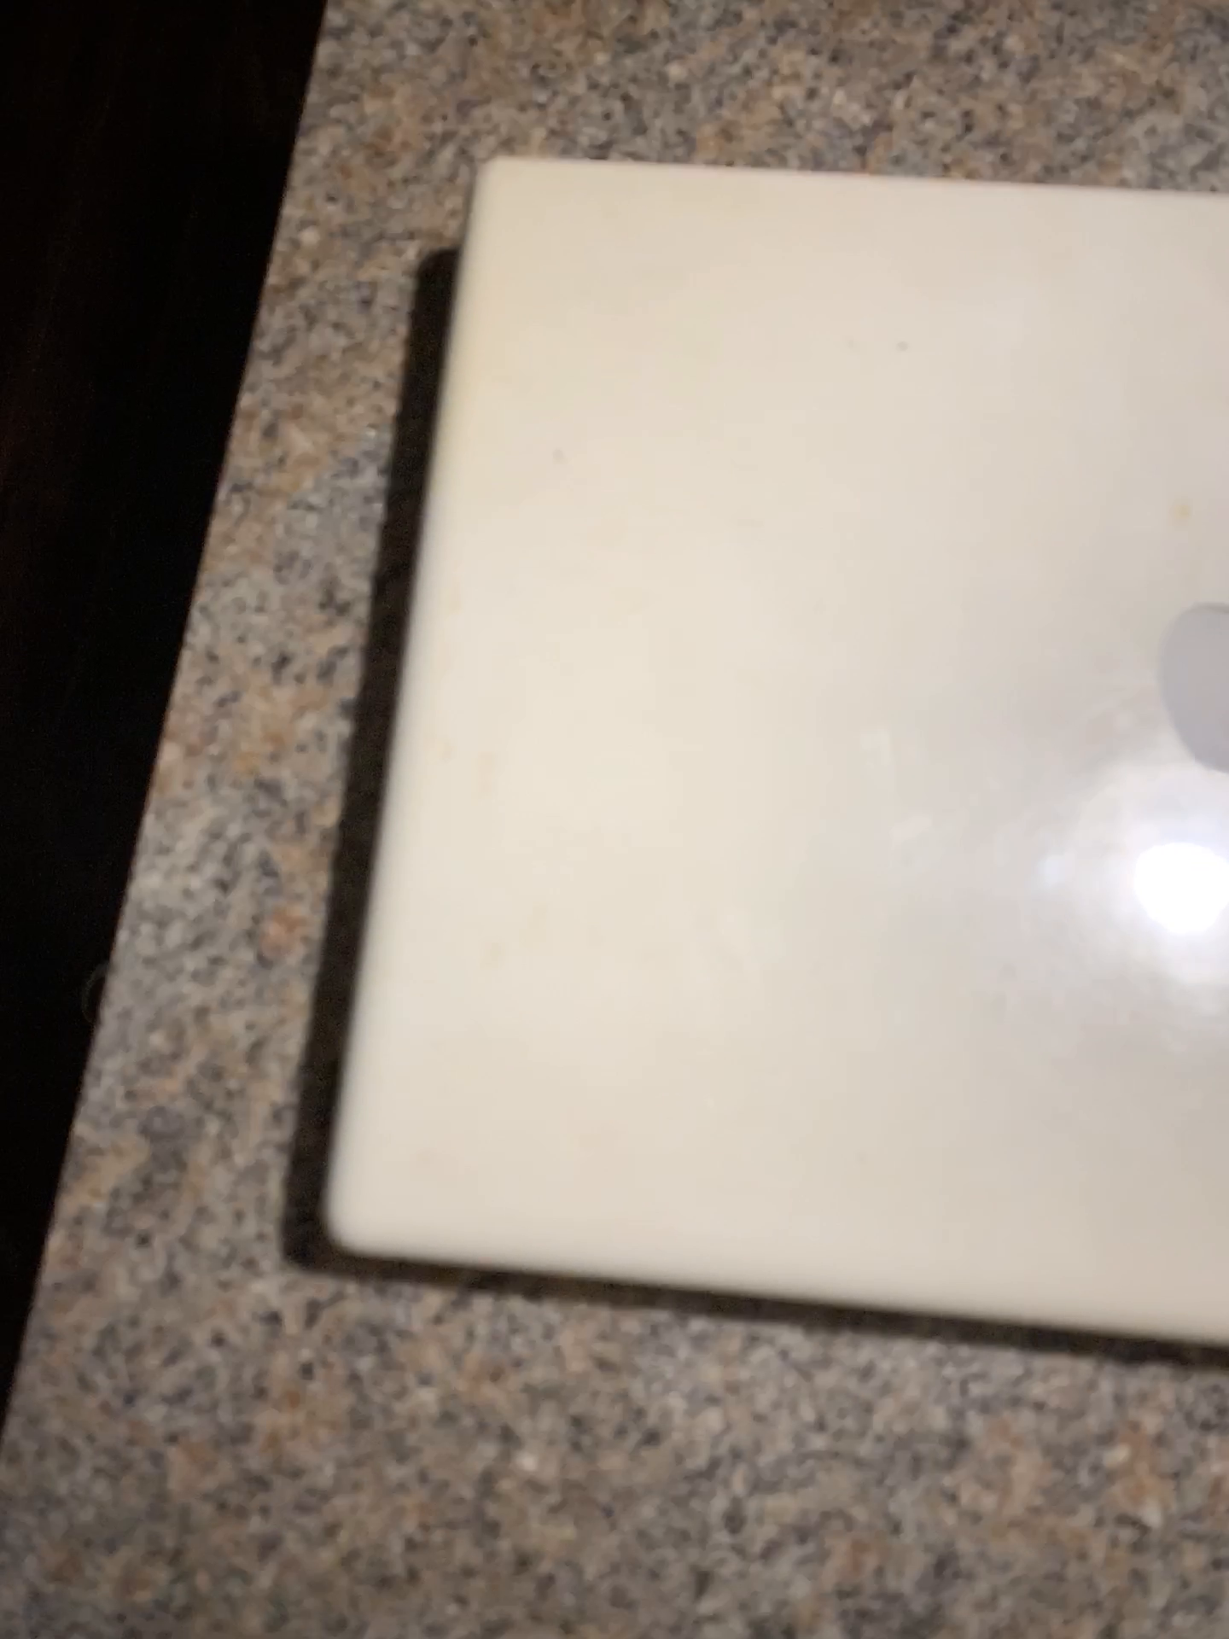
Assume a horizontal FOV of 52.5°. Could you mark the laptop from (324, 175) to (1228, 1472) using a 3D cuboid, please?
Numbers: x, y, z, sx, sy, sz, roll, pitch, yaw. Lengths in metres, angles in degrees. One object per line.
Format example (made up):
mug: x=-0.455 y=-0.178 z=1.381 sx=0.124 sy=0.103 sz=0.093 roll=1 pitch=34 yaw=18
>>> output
laptop: x=0.113 y=-0.022 z=0.214 sx=0.305 sy=0.002 sz=0.205 roll=4 pitch=75 yaw=7
